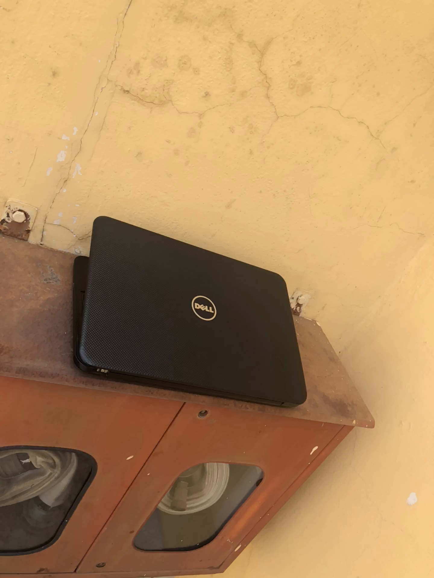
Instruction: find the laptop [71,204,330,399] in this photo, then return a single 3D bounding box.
[{"bbox_3d":[-0.016,0.027,0.712,0.353,0.098,0.184,16,39,-27],"label":"laptop"}]
